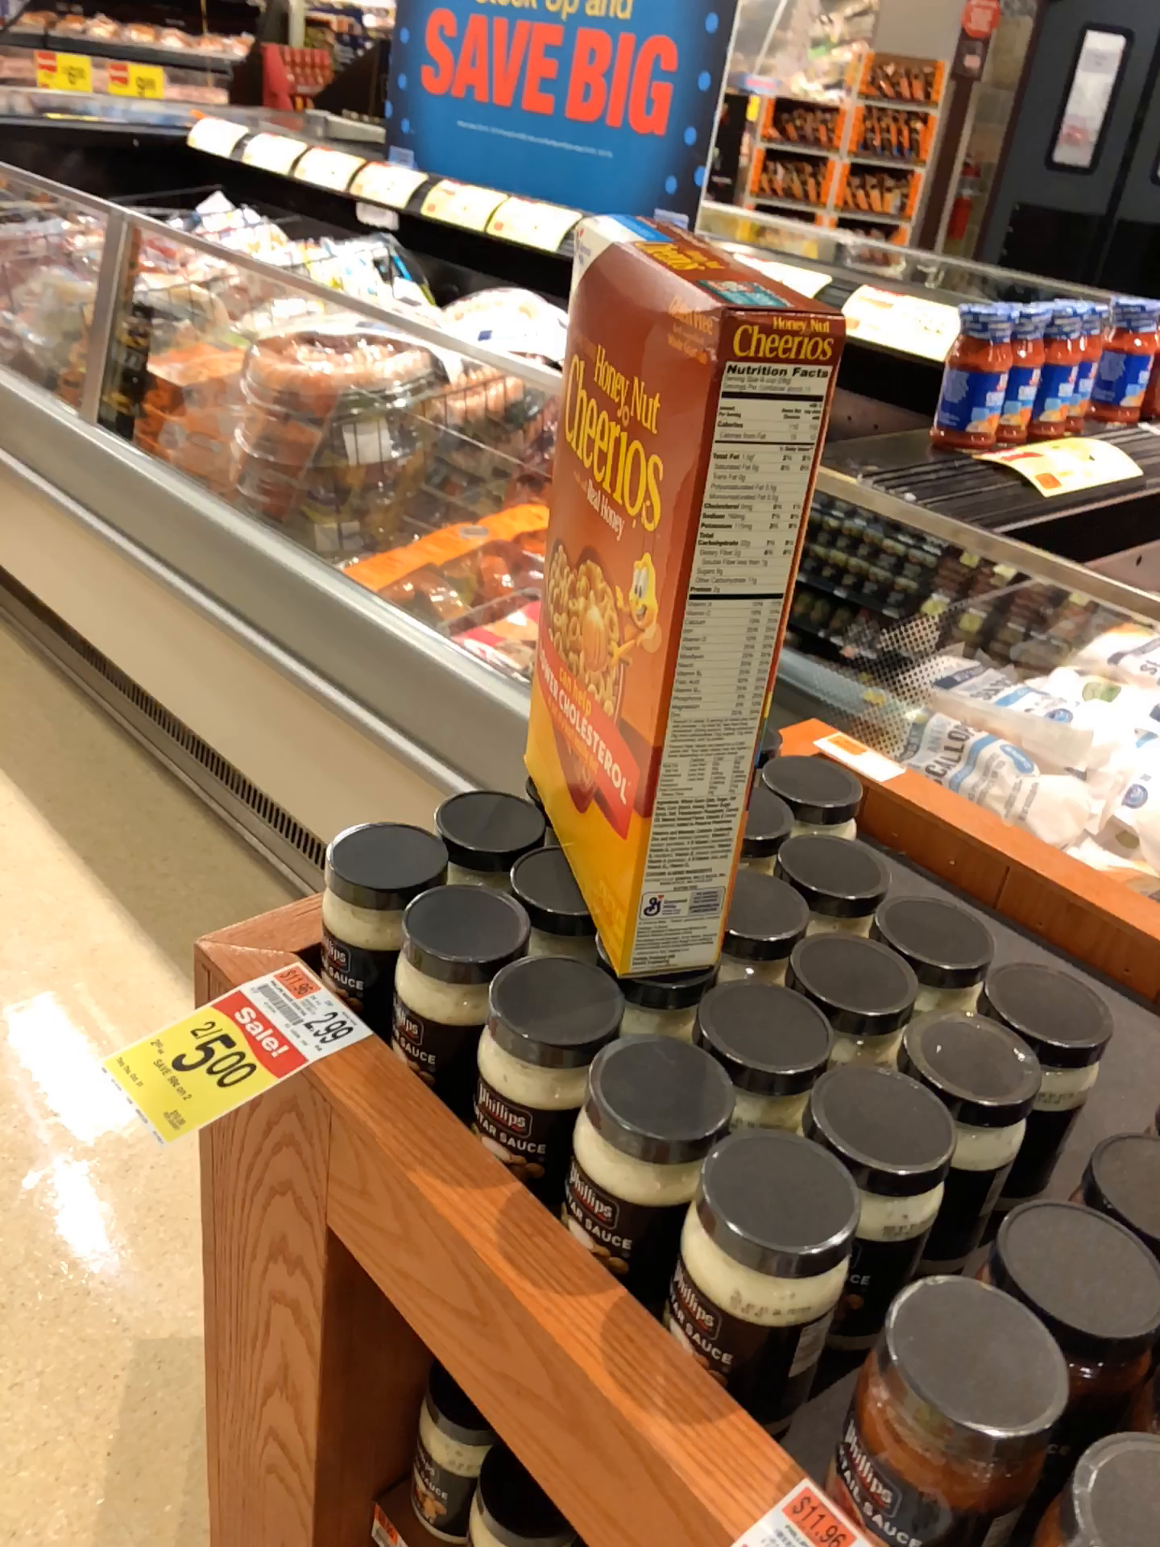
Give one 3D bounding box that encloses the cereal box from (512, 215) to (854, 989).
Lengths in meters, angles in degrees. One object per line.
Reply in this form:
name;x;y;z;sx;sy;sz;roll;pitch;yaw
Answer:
cereal box;0.027;-0.082;0.577;0.050;0.288;0.201;-1;30;-16
